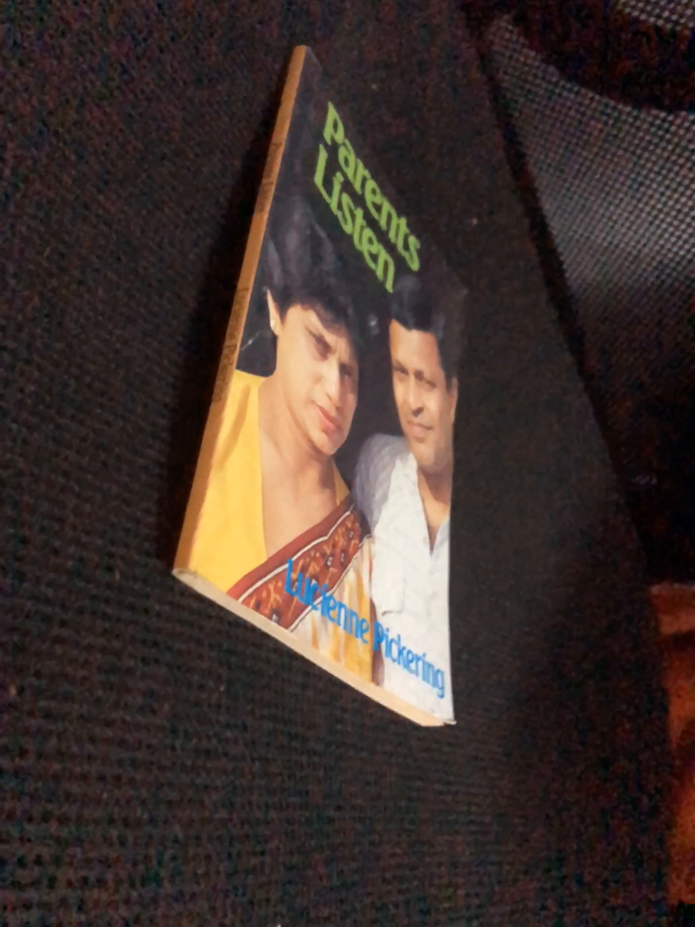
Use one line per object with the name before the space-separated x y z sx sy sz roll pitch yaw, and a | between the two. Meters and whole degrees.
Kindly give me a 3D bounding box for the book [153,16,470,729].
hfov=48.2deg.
book | 0.008 -0.030 0.247 0.130 0.010 0.191 44 42 -45
